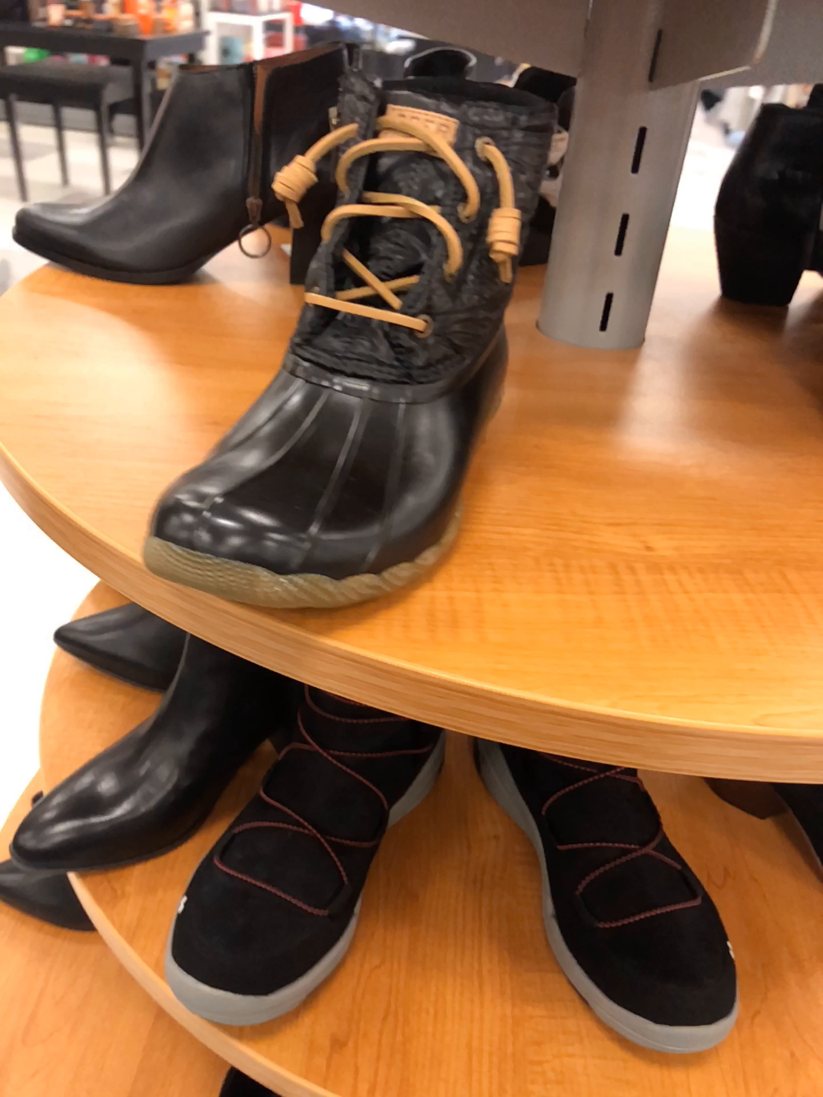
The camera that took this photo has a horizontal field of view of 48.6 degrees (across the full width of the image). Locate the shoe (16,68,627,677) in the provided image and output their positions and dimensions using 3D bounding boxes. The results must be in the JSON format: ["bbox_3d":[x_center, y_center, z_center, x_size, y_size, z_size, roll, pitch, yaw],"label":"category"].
[{"bbox_3d":[-0.012,-0.093,0.359,0.112,0.156,0.232,16,33,20],"label":"shoe"}]
